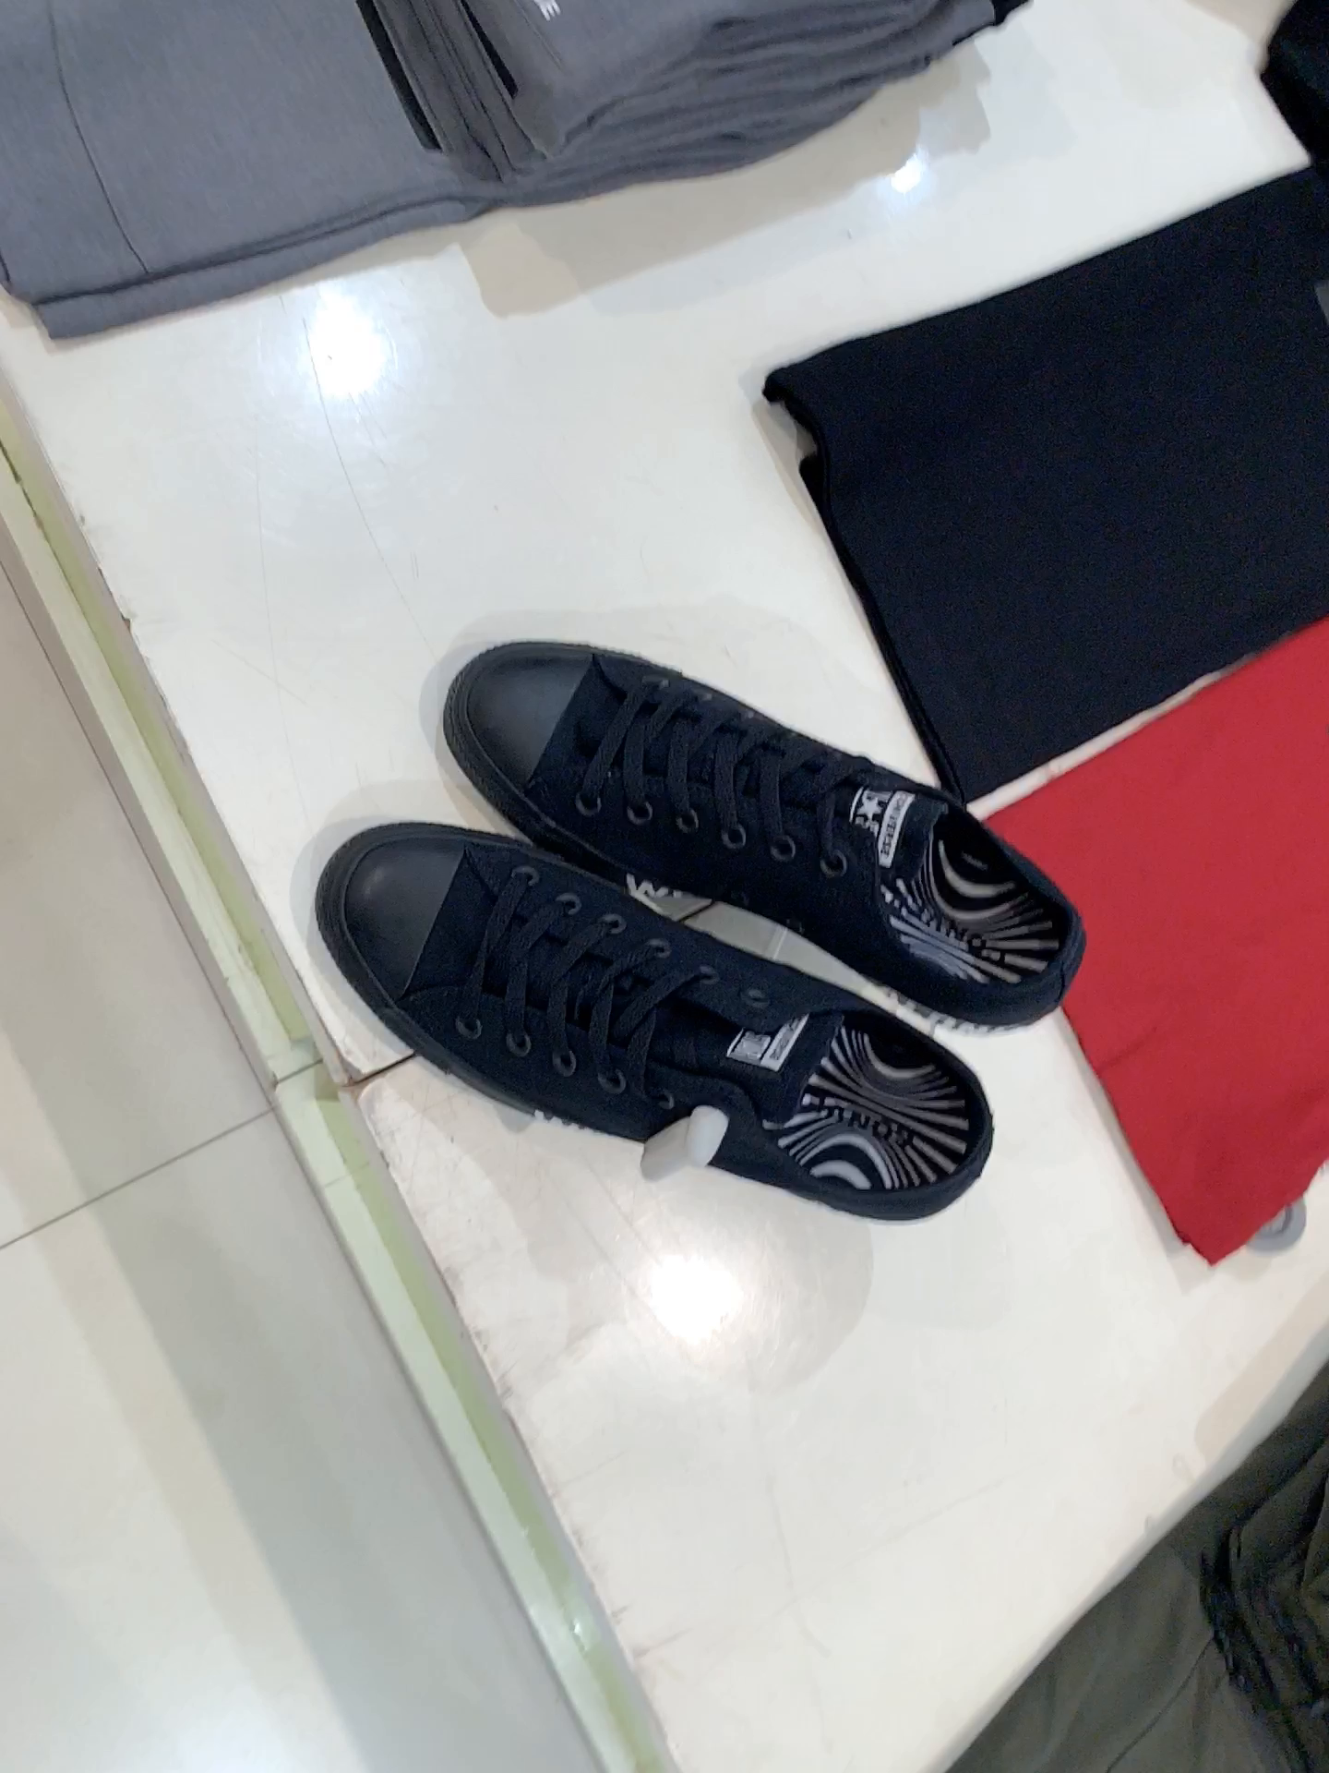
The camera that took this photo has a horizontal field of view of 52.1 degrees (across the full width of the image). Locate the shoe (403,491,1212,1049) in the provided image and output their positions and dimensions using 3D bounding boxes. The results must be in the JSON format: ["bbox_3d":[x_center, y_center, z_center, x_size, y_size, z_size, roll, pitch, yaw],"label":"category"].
[{"bbox_3d":[0.052,-0.043,0.556,0.290,0.100,0.090,26,80,8],"label":"shoe"}]

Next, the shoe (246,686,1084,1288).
[{"bbox_3d":[-0.001,0.041,0.512,0.270,0.100,0.100,25,76,9],"label":"shoe"}]
